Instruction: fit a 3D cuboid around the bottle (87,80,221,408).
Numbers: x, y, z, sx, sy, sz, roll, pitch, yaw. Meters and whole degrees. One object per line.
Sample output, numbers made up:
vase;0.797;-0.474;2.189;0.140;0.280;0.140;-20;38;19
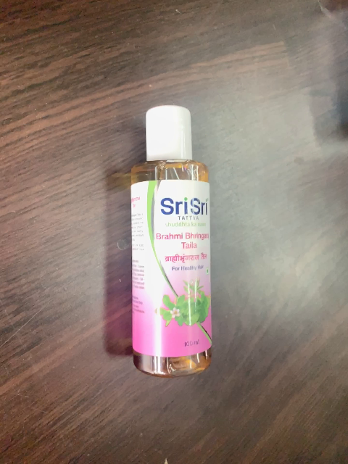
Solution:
bottle;-0.011;0.005;0.175;0.050;0.040;0.130;0;88;-29
